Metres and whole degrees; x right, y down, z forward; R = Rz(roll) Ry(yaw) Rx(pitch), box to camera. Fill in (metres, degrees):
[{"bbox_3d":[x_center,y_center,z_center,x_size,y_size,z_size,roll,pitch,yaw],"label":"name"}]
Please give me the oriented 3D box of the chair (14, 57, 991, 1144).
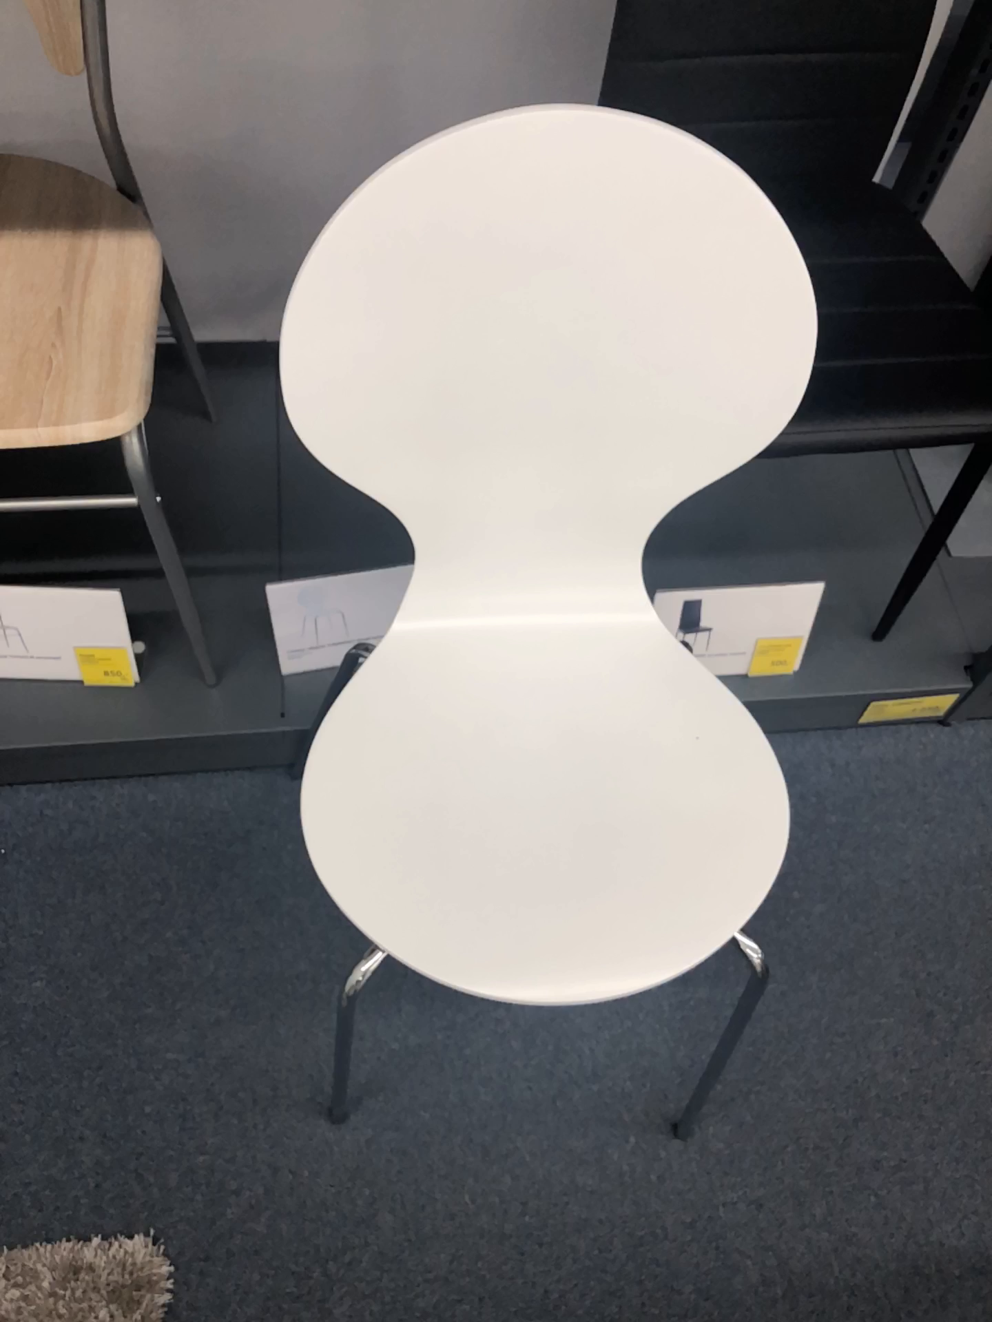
[{"bbox_3d":[0.030,0.046,1.018,0.560,0.818,0.641,2,59,-4],"label":"chair"}]
